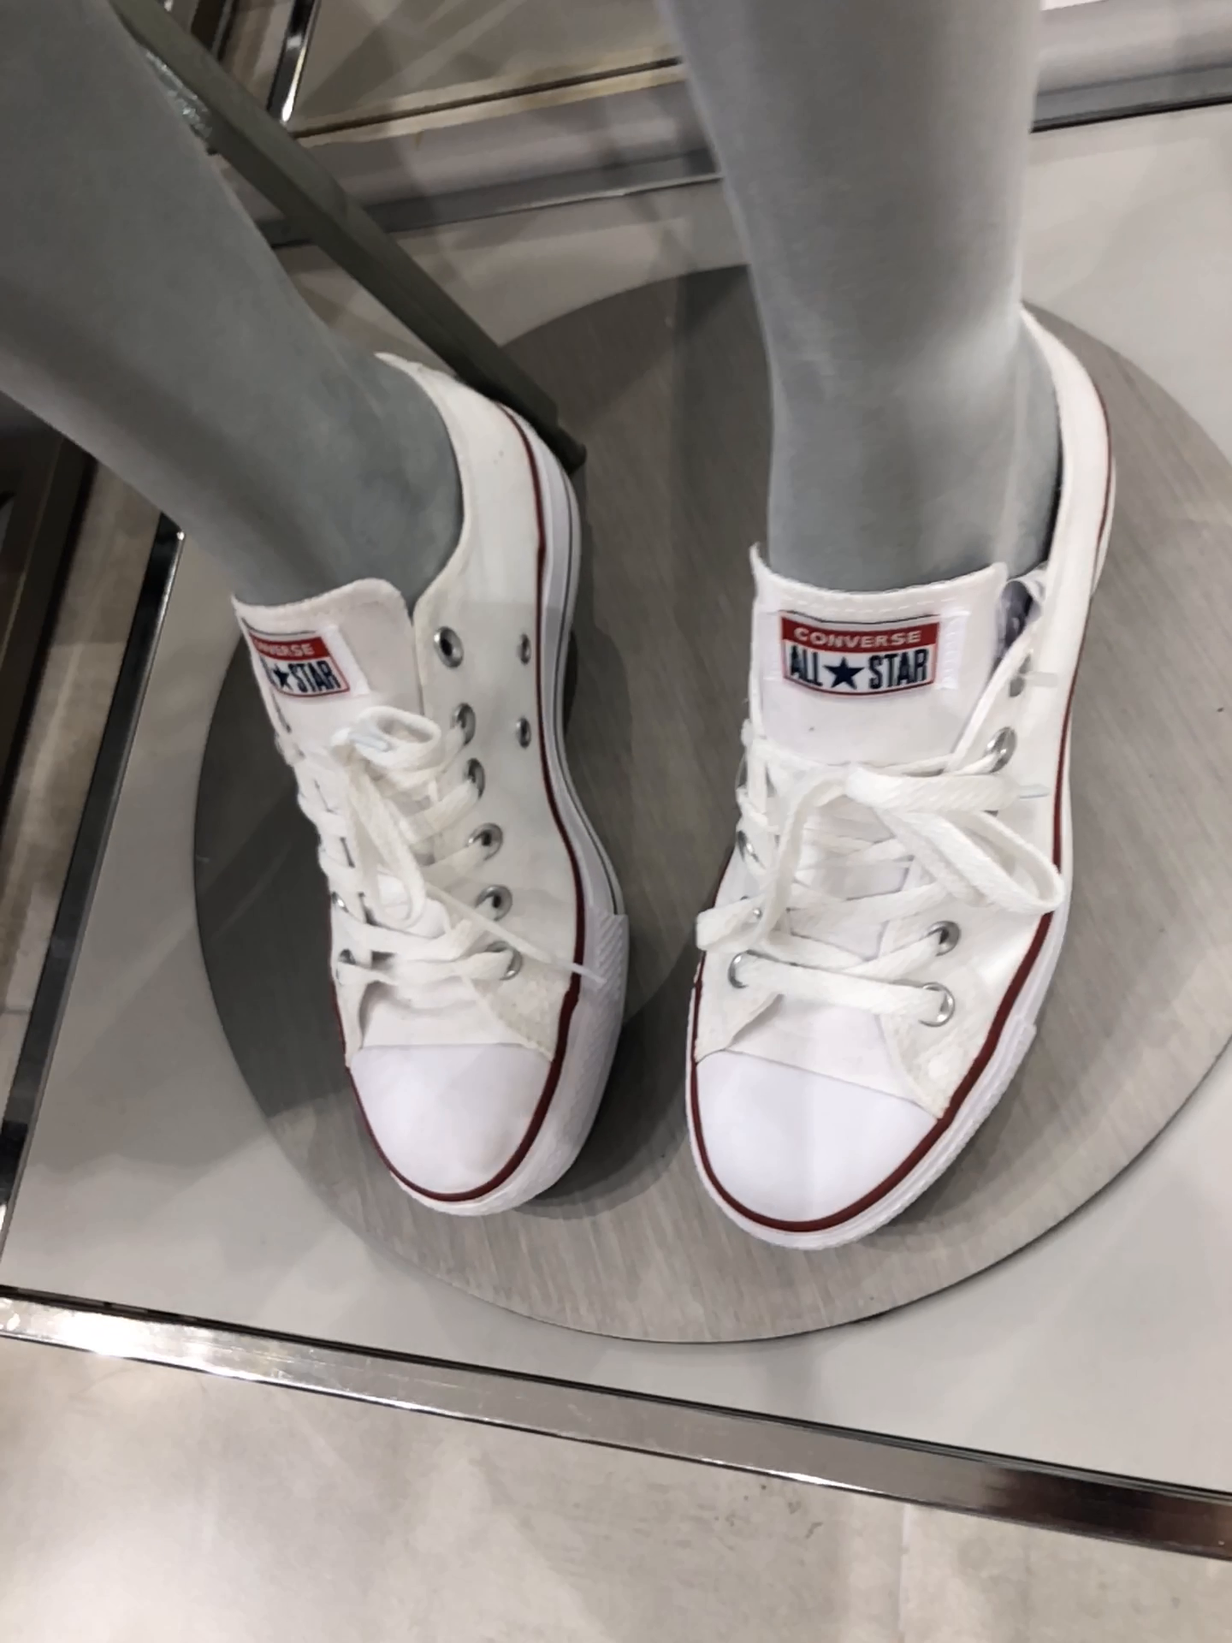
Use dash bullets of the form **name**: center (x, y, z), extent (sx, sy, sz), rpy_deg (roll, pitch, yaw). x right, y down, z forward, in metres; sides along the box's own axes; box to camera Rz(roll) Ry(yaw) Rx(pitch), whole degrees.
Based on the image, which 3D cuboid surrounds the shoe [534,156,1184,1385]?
- **shoe**: center (0.071, -0.017, 0.370), extent (0.110, 0.090, 0.280), rpy_deg (10, 89, 23)

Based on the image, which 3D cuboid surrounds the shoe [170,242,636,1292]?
- **shoe**: center (-0.061, -0.012, 0.408), extent (0.100, 0.090, 0.270), rpy_deg (-4, 84, 19)
